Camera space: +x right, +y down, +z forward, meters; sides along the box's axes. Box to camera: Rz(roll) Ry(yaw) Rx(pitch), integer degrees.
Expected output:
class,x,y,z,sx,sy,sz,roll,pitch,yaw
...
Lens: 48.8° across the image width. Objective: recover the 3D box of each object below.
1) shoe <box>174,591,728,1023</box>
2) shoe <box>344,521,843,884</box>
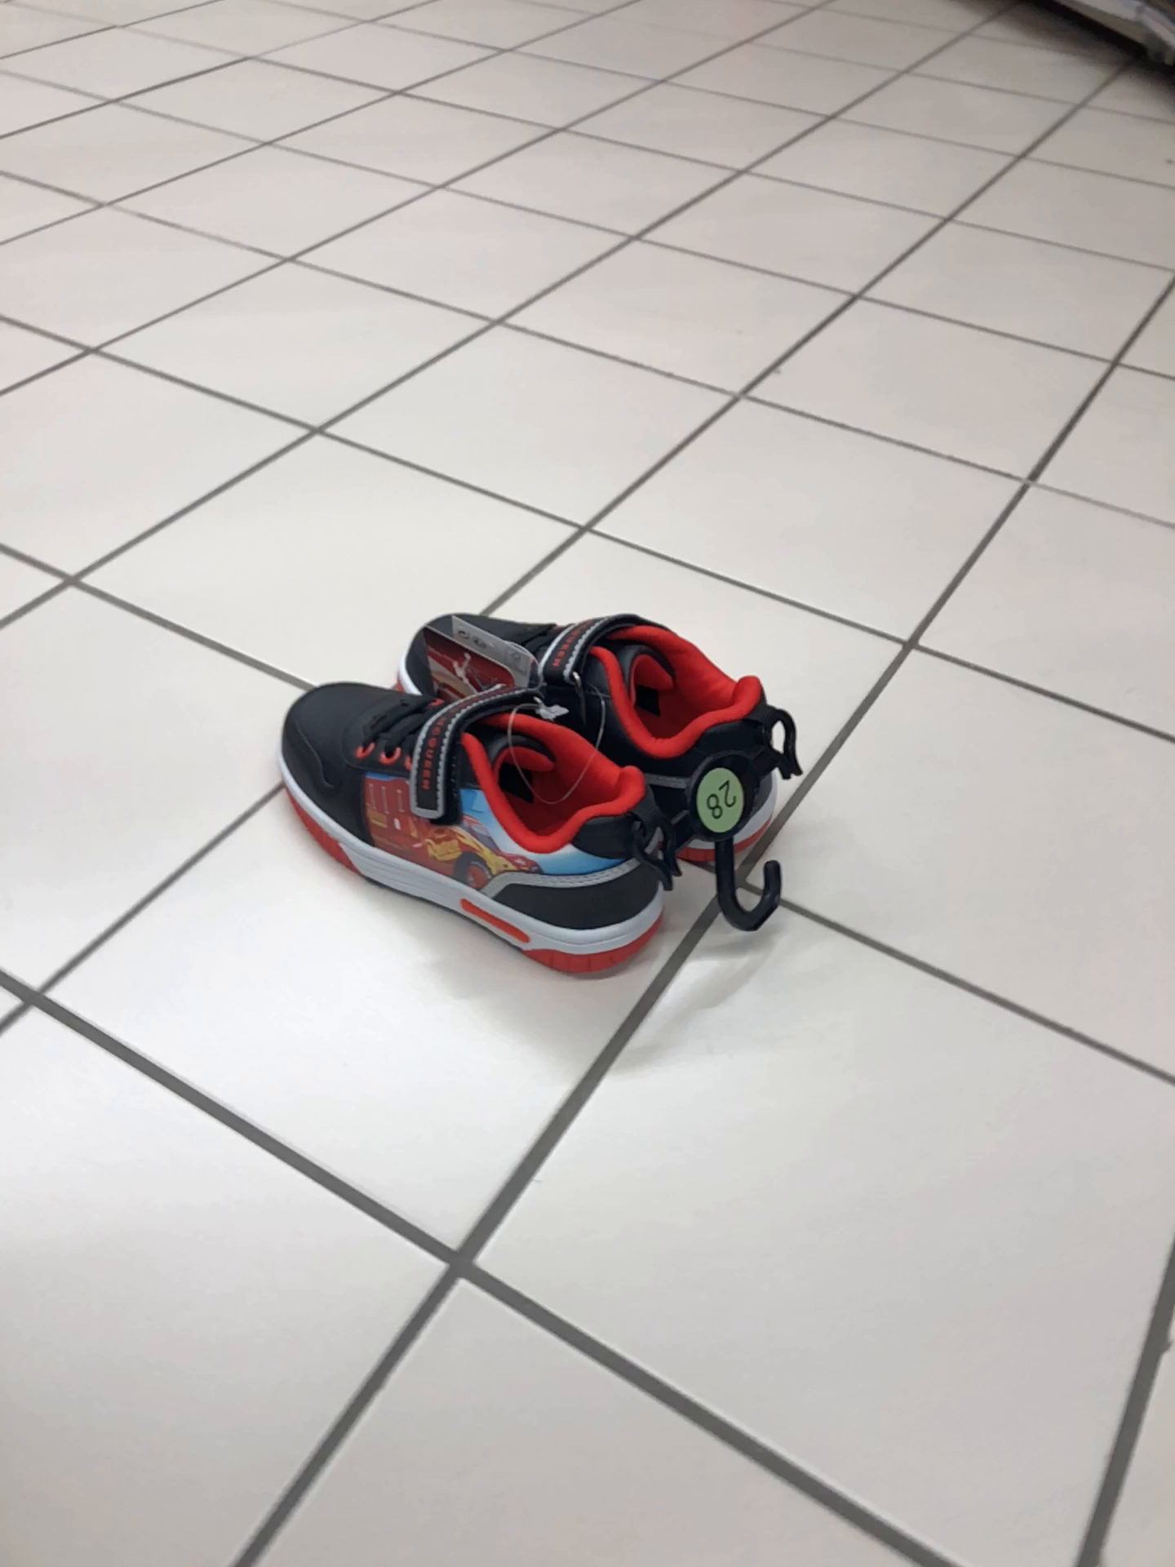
class,x,y,z,sx,sy,sz,roll,pitch,yaw
shoe,-0.058,0.001,0.531,0.206,0.053,0.095,27,48,24
shoe,-0.002,-0.043,0.579,0.209,0.053,0.080,27,48,24
